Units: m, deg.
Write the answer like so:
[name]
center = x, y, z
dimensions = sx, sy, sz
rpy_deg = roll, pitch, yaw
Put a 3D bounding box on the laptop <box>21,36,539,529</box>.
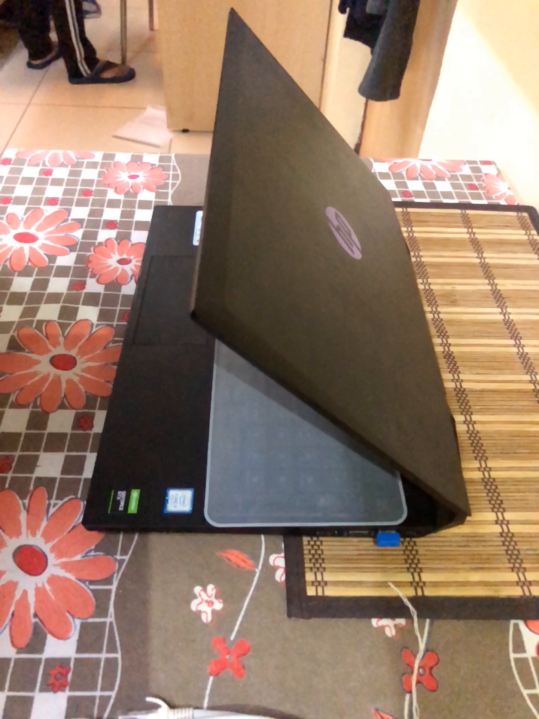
[laptop]
center = 0.012, -0.081, 0.434
dimensions = 0.236, 0.164, 0.358
rpy_deg = 0, 46, 1
